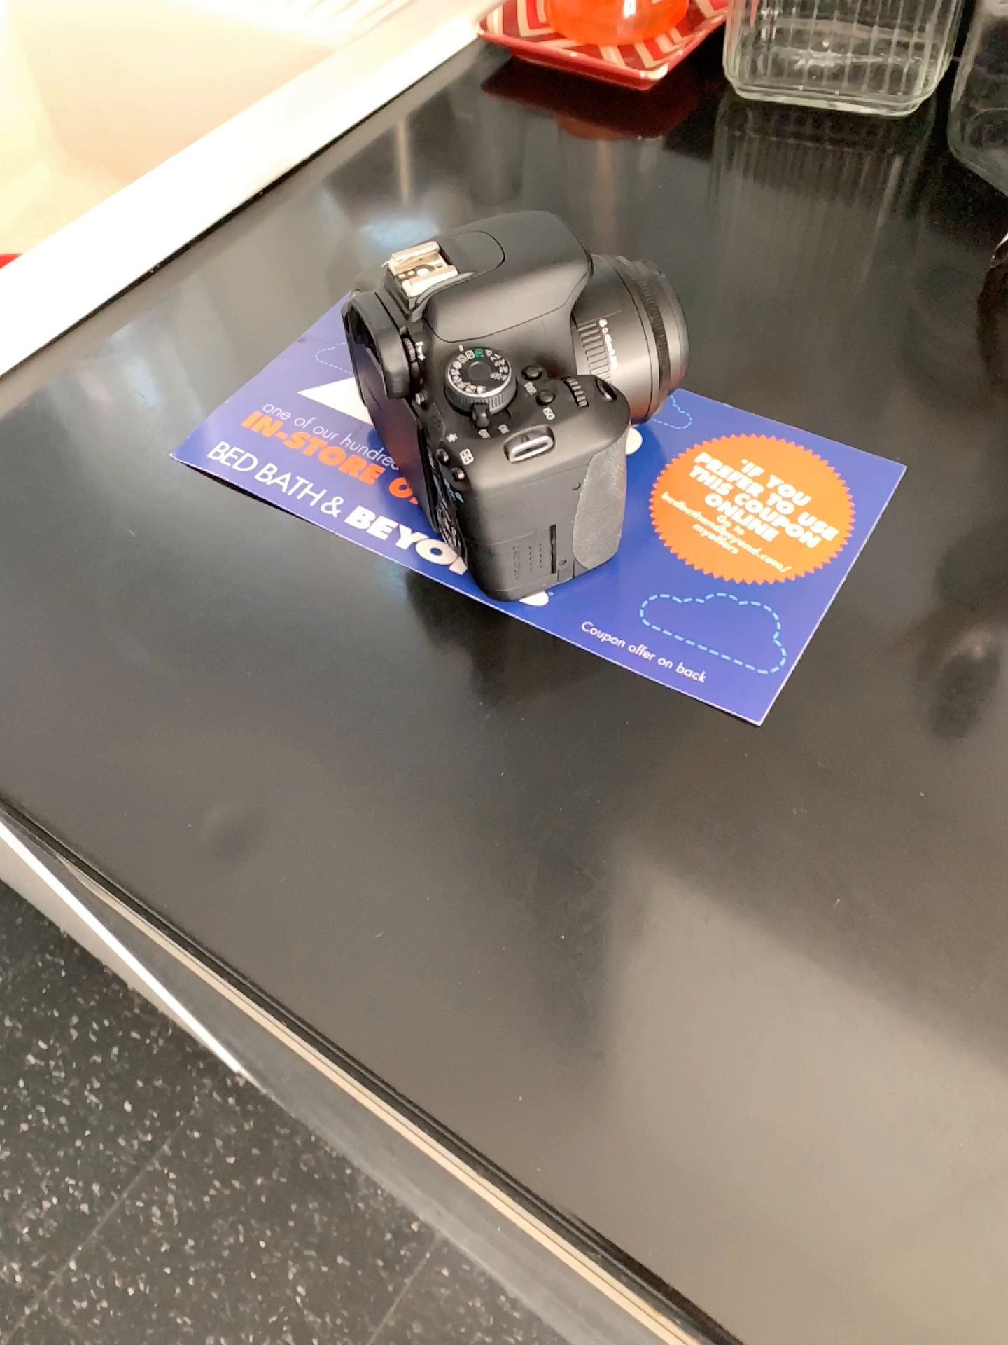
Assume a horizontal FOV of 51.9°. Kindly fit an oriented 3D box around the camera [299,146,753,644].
[{"bbox_3d":[0.003,-0.103,0.374,0.103,0.088,0.133,-21,56,-11],"label":"camera"}]
